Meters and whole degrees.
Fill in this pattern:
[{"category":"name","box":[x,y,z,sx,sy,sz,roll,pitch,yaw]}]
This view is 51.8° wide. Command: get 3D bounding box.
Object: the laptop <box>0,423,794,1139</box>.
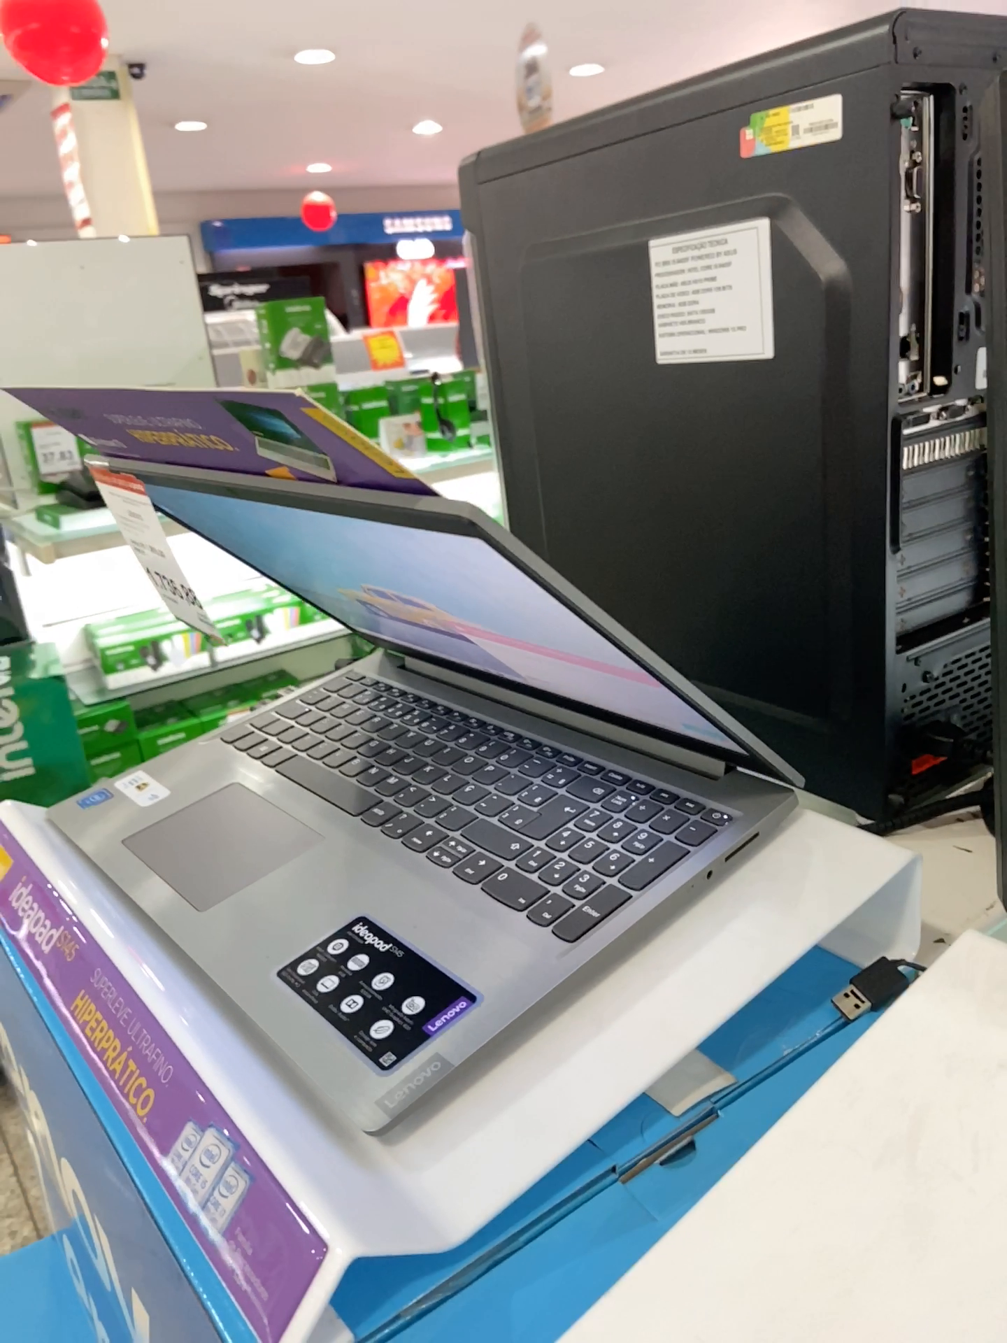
[{"category":"laptop","box":[-0.077,-0.004,0.524,0.244,0.162,0.357,-26,27,-33]}]
